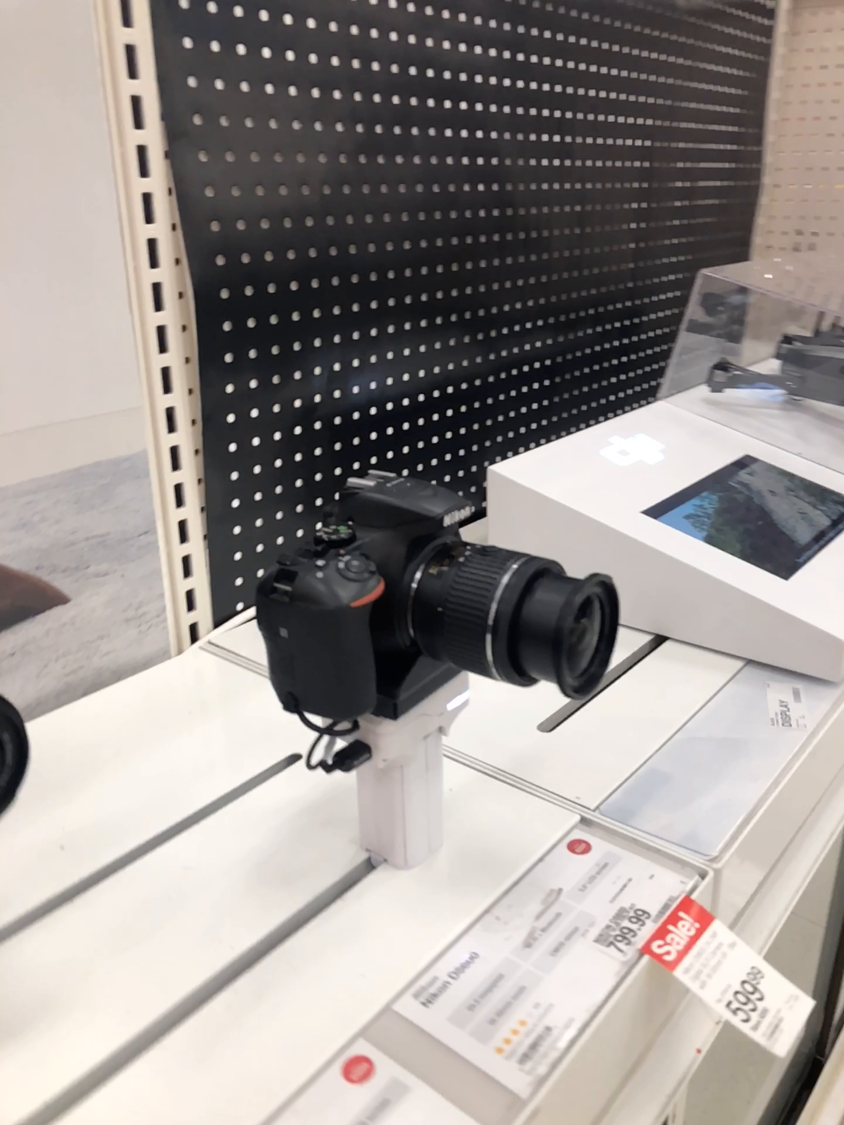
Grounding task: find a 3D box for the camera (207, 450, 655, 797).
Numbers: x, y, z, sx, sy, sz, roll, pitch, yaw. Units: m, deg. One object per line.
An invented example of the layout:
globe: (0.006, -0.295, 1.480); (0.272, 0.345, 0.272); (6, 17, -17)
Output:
camera: (0.004, 0.015, 0.459); (0.170, 0.090, 0.130); (16, 27, 34)
